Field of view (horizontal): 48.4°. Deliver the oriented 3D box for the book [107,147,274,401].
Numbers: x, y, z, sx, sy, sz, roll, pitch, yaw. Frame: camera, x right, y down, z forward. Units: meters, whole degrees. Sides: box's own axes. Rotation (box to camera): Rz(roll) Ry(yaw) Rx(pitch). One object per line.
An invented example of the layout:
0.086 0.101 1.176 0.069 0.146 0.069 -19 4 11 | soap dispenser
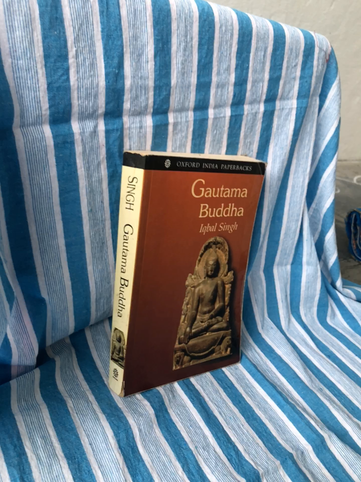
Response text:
0.009 0.025 0.373 0.141 0.209 0.040 -5 17 -33 | book
